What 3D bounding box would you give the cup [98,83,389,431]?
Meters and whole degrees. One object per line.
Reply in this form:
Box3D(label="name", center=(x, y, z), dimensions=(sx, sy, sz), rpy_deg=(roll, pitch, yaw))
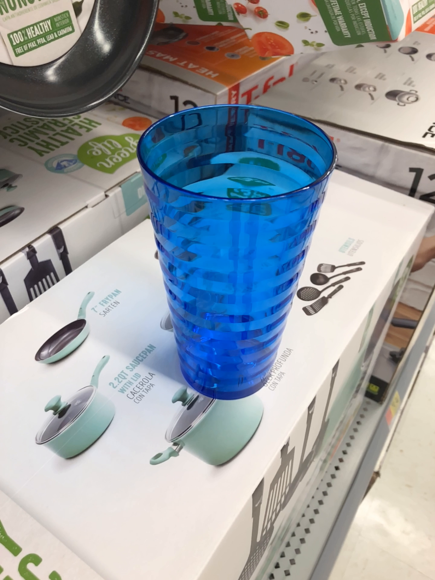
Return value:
Box3D(label="cup", center=(0.008, -0.017, 0.257), dimensions=(0.087, 0.134, 0.092), rpy_deg=(2, 44, -2))
